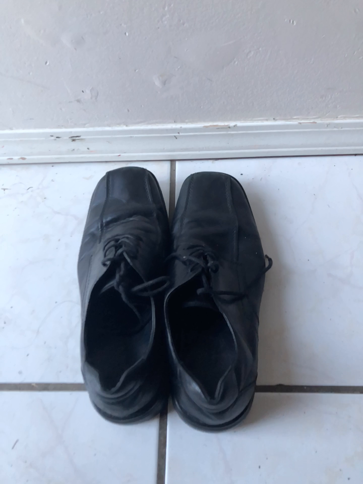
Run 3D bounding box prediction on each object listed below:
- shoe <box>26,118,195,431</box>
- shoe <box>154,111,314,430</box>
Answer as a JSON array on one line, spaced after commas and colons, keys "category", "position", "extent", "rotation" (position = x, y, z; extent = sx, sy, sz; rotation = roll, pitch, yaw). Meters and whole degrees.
[{"category": "shoe", "position": [-0.062, 0.024, 0.400], "extent": [0.120, 0.100, 0.291], "rotation": [-6, 62, 1]}, {"category": "shoe", "position": [0.036, 0.019, 0.385], "extent": [0.110, 0.100, 0.291], "rotation": [-3, 62, 3]}]
